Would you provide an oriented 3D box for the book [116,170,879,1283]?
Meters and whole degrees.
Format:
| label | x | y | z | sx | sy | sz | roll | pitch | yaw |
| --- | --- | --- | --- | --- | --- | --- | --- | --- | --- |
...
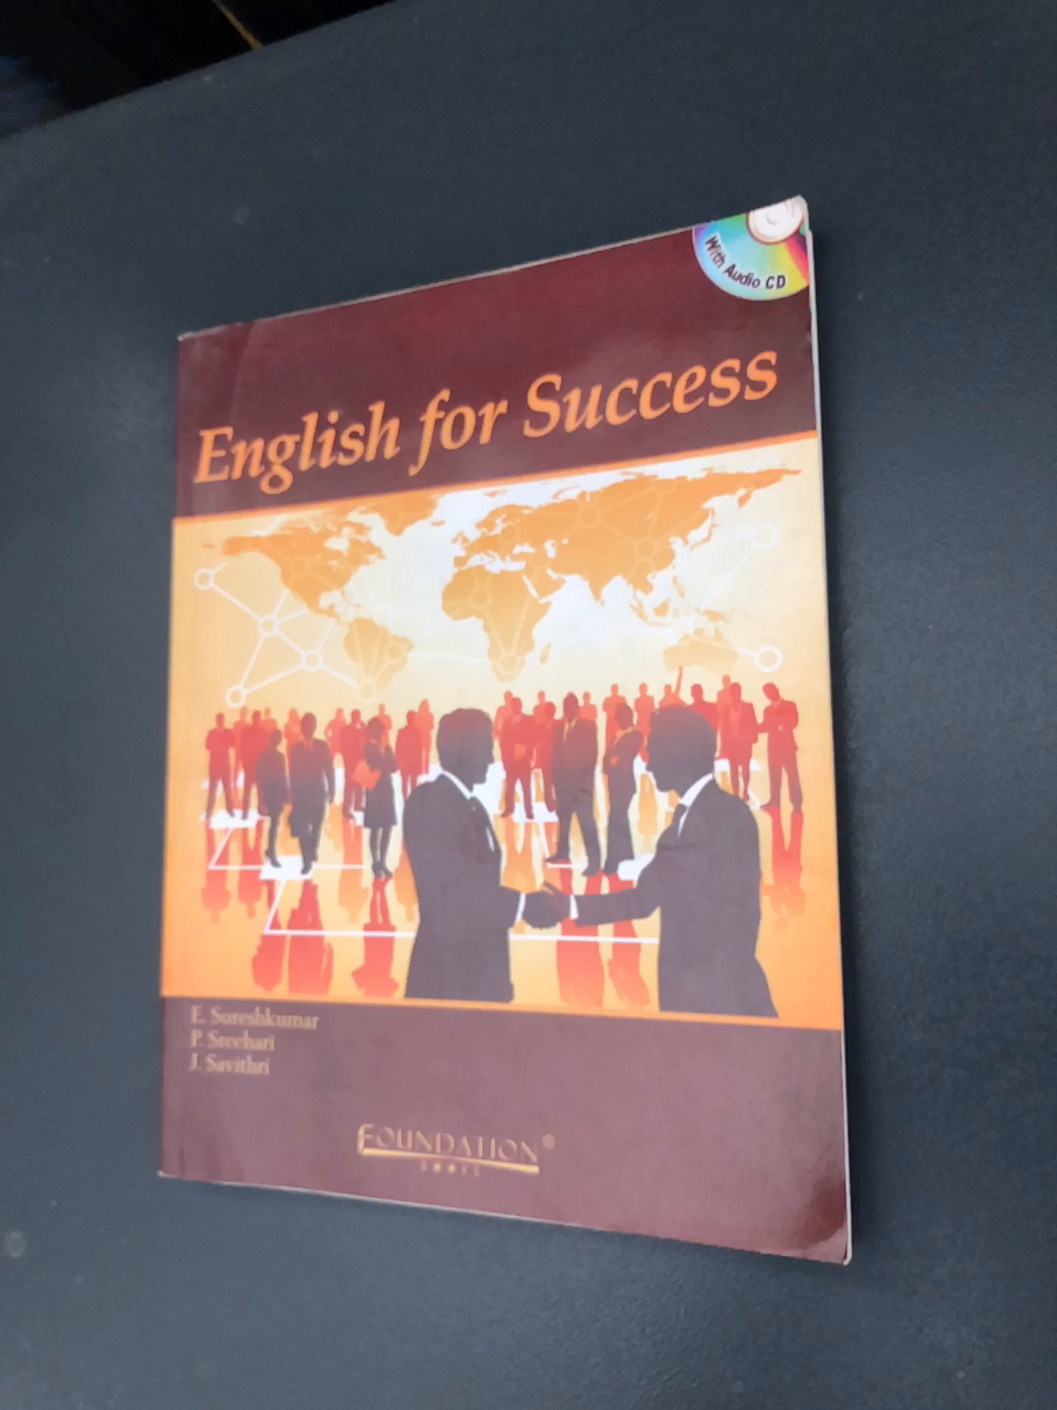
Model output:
| label | x | y | z | sx | sy | sz | roll | pitch | yaw |
| --- | --- | --- | --- | --- | --- | --- | --- | --- | --- |
| book | -0.016 | 0.005 | 0.303 | 0.190 | 0.030 | 0.240 | -4 | 82 | 22 |
